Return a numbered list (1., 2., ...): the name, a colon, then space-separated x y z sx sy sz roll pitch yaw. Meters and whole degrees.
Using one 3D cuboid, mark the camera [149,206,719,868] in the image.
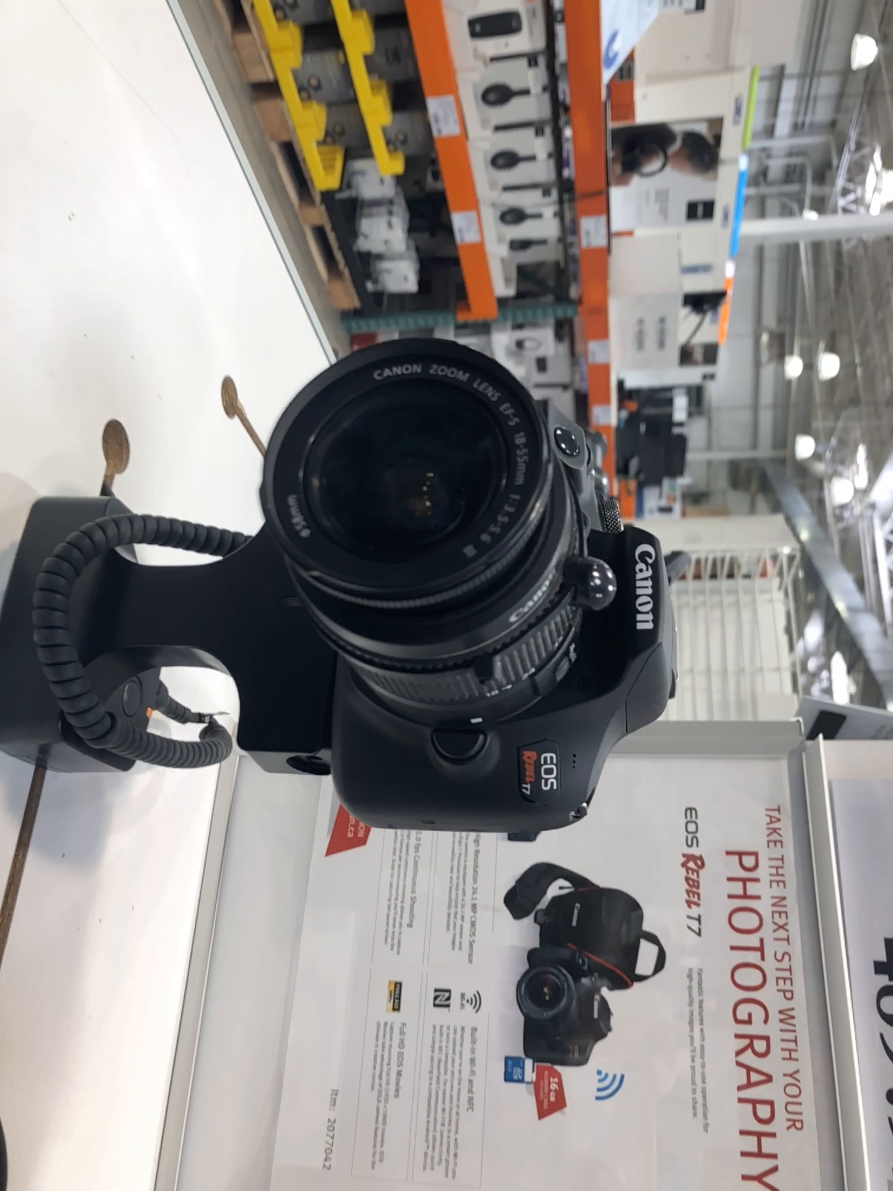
1. camera: 0.012 0.000 0.279 0.150 0.110 0.130 65 26 -66
